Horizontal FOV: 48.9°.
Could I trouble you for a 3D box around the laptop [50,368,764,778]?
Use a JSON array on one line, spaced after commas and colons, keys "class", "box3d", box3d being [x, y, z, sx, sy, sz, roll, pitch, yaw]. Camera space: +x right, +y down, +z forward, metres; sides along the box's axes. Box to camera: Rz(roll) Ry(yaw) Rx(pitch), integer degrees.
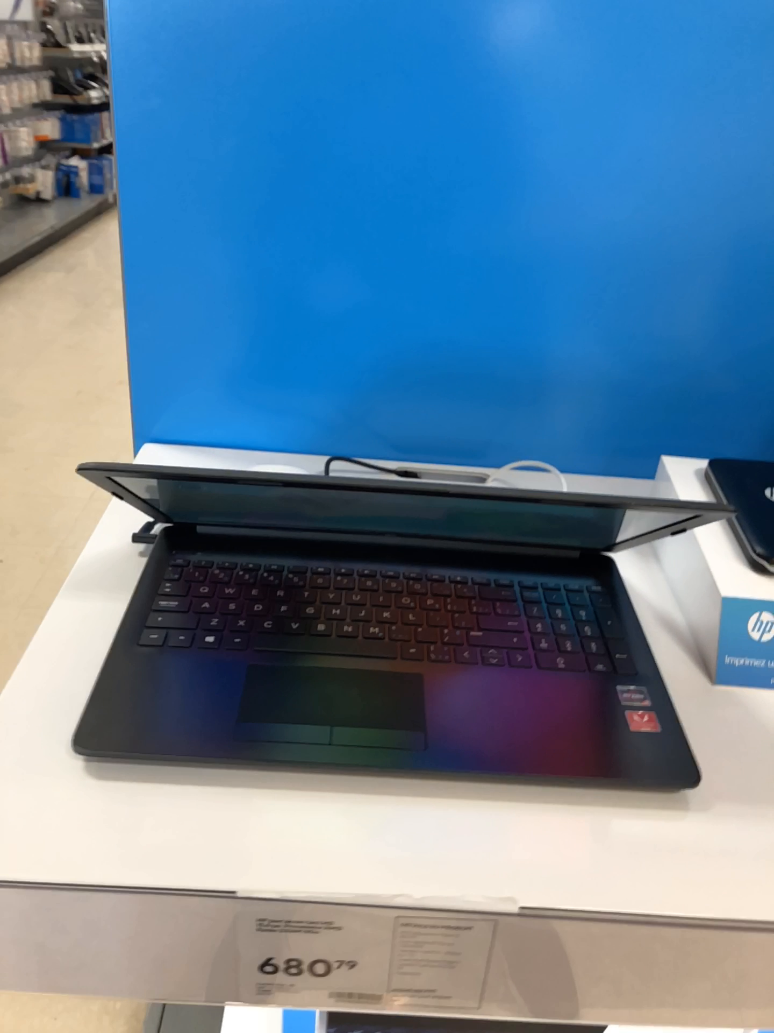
[{"class": "laptop", "box3d": [0.007, 0.023, 0.556, 0.355, 0.130, 0.243, 4, 29, -5]}]
